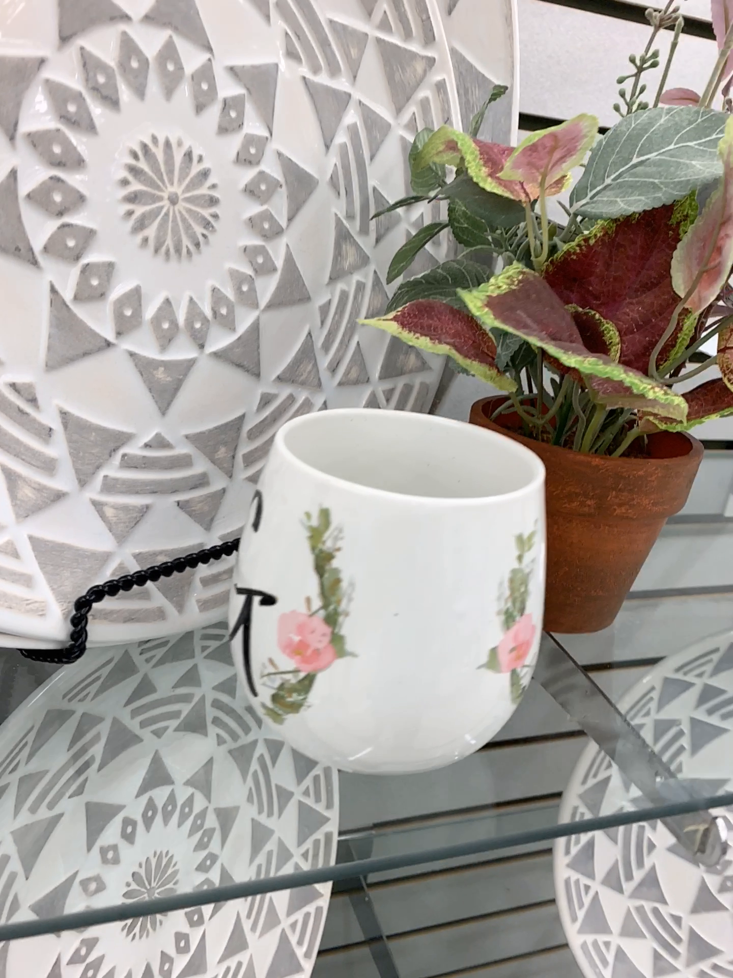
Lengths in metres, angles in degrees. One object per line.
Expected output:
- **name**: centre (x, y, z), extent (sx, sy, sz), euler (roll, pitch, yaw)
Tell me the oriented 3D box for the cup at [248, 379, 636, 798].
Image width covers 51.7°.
- **cup**: centre (0.013, 0.024, 0.242), extent (0.089, 0.090, 0.100), euler (4, 20, -6)
